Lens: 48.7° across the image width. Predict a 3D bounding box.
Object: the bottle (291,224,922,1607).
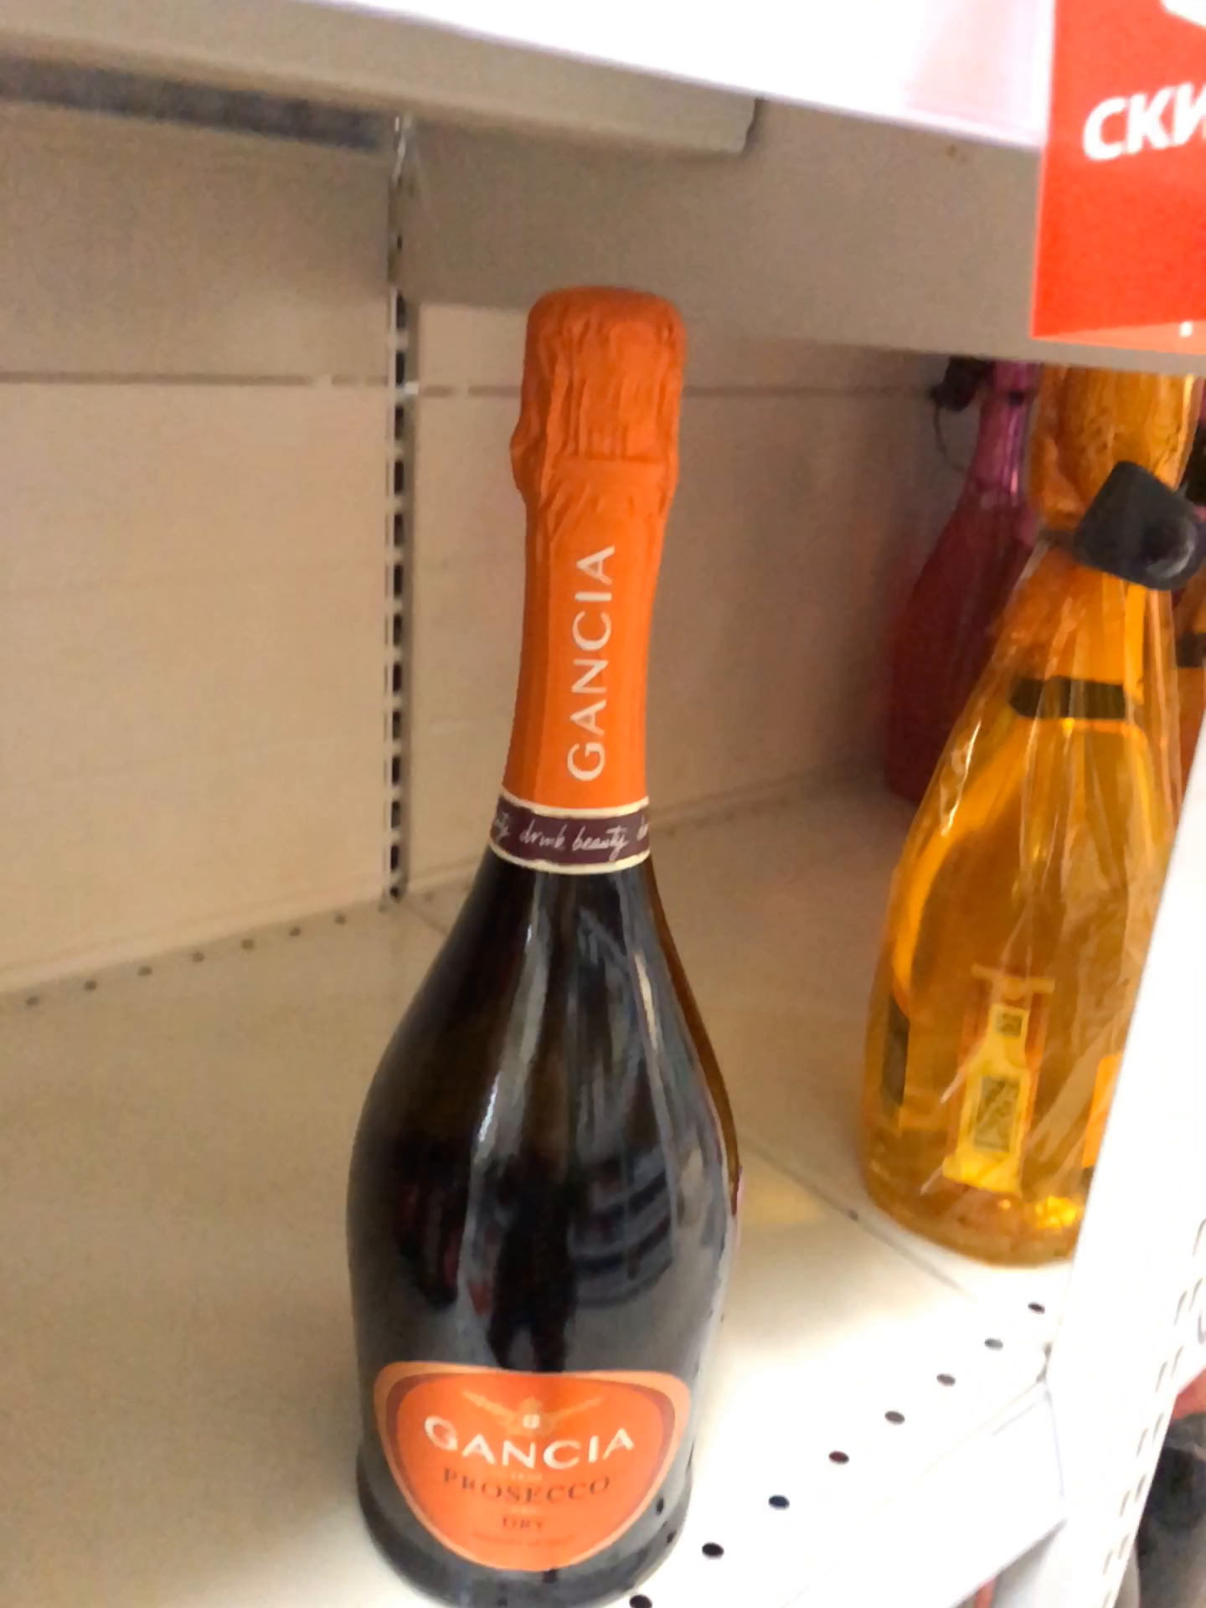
[{"bbox_3d":[-0.011,0.039,0.311,0.100,0.309,0.100,4,20,-1],"label":"bottle"}]
